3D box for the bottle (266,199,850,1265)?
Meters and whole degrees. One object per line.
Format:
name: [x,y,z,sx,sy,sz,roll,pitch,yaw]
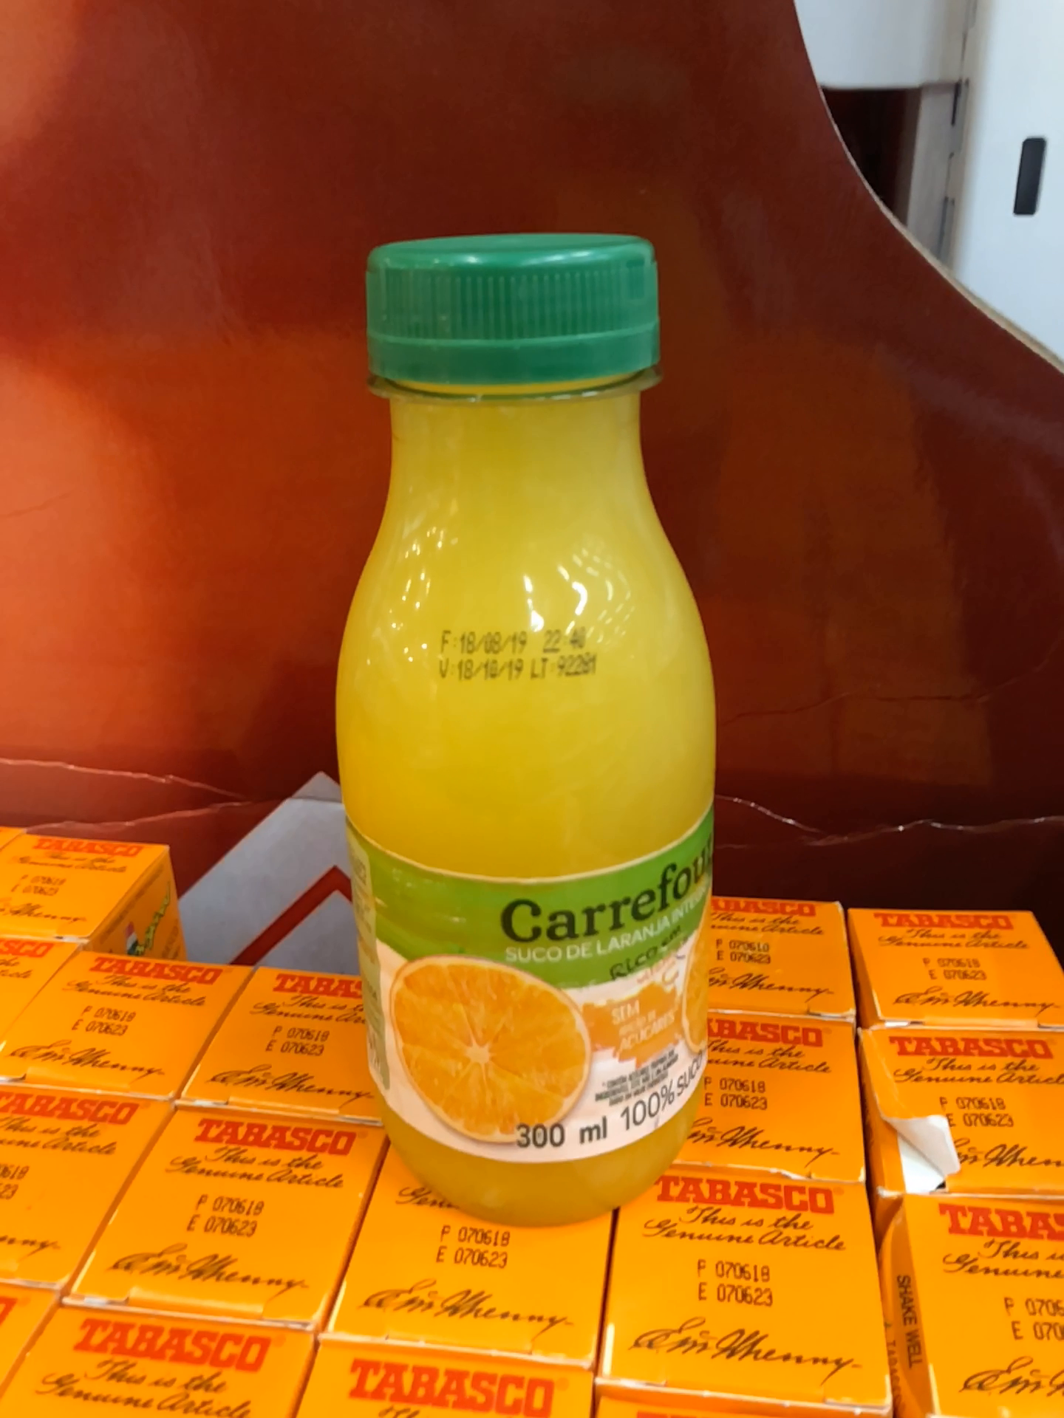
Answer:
bottle: [0.004,0.002,0.186,0.060,0.149,0.050,-14,26,-26]
